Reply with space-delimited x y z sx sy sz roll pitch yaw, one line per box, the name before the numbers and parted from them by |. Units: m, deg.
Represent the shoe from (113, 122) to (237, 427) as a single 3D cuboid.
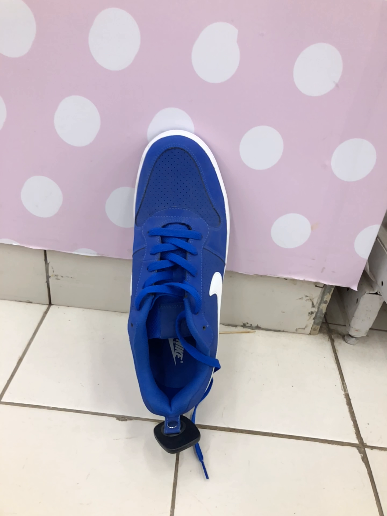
shoe | -0.019 0.016 0.449 0.110 0.290 0.080 2 5 0
